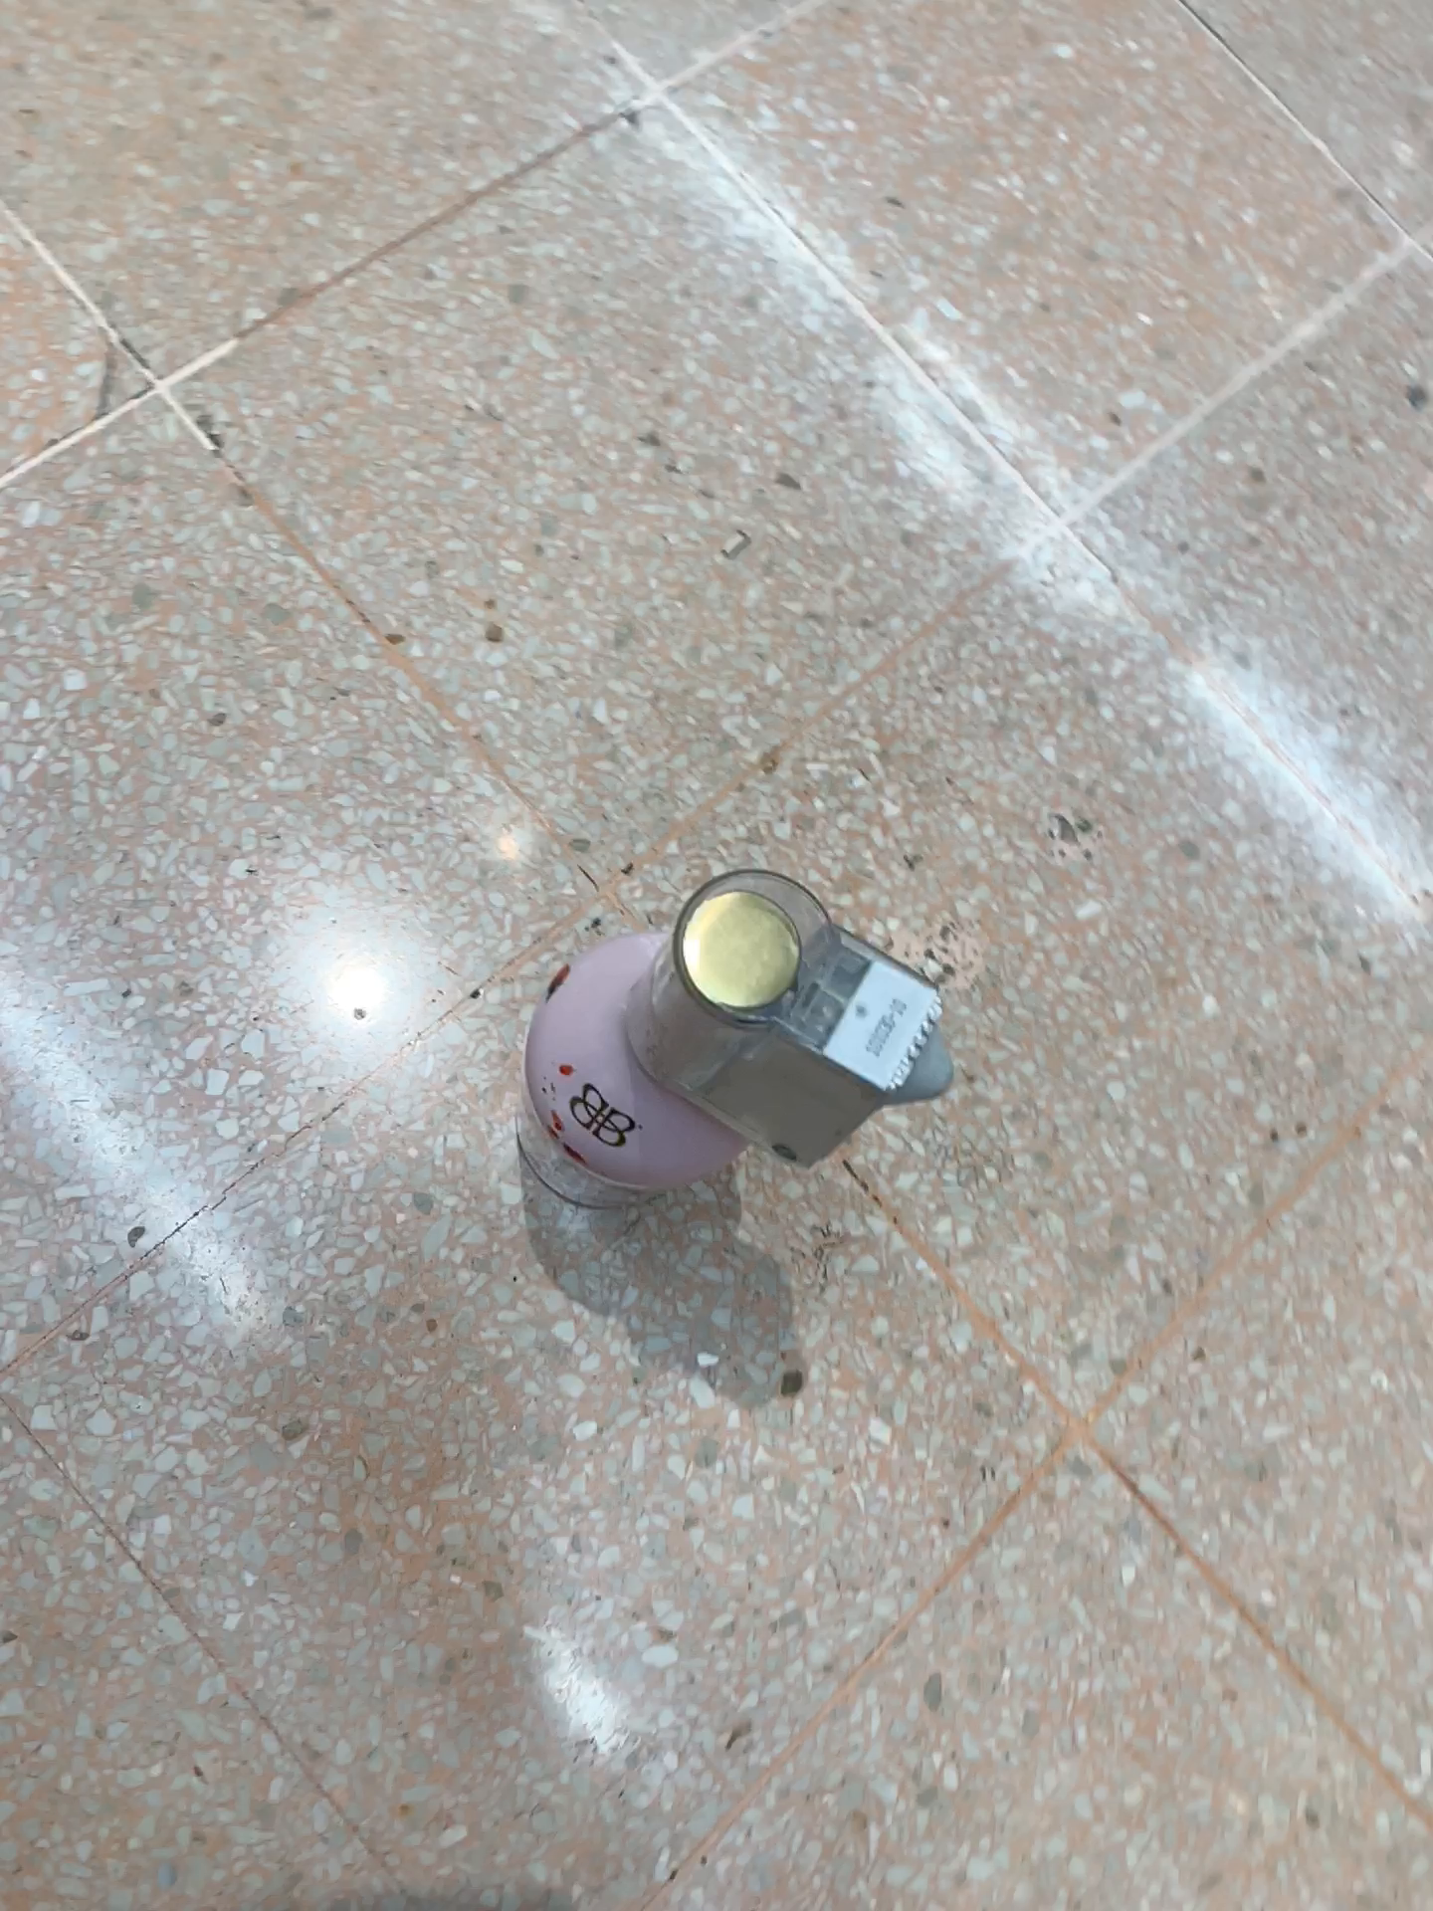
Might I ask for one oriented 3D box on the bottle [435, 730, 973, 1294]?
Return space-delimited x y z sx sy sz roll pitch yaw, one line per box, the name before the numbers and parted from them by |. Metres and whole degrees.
bottle | -0.024 0.038 0.459 0.103 0.255 0.073 42 72 2
